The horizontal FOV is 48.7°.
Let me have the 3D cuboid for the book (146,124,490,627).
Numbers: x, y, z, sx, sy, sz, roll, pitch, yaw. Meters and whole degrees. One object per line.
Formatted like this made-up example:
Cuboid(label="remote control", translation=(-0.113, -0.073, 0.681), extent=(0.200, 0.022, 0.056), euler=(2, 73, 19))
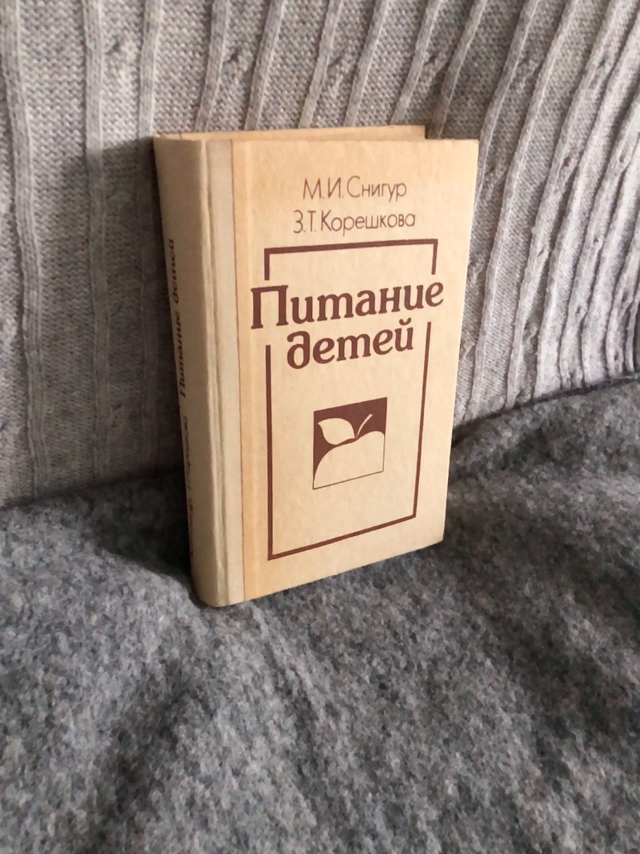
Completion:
Cuboid(label="book", translation=(0.003, -0.026, 0.333), extent=(0.140, 0.212, 0.041), euler=(-14, 28, -28))
